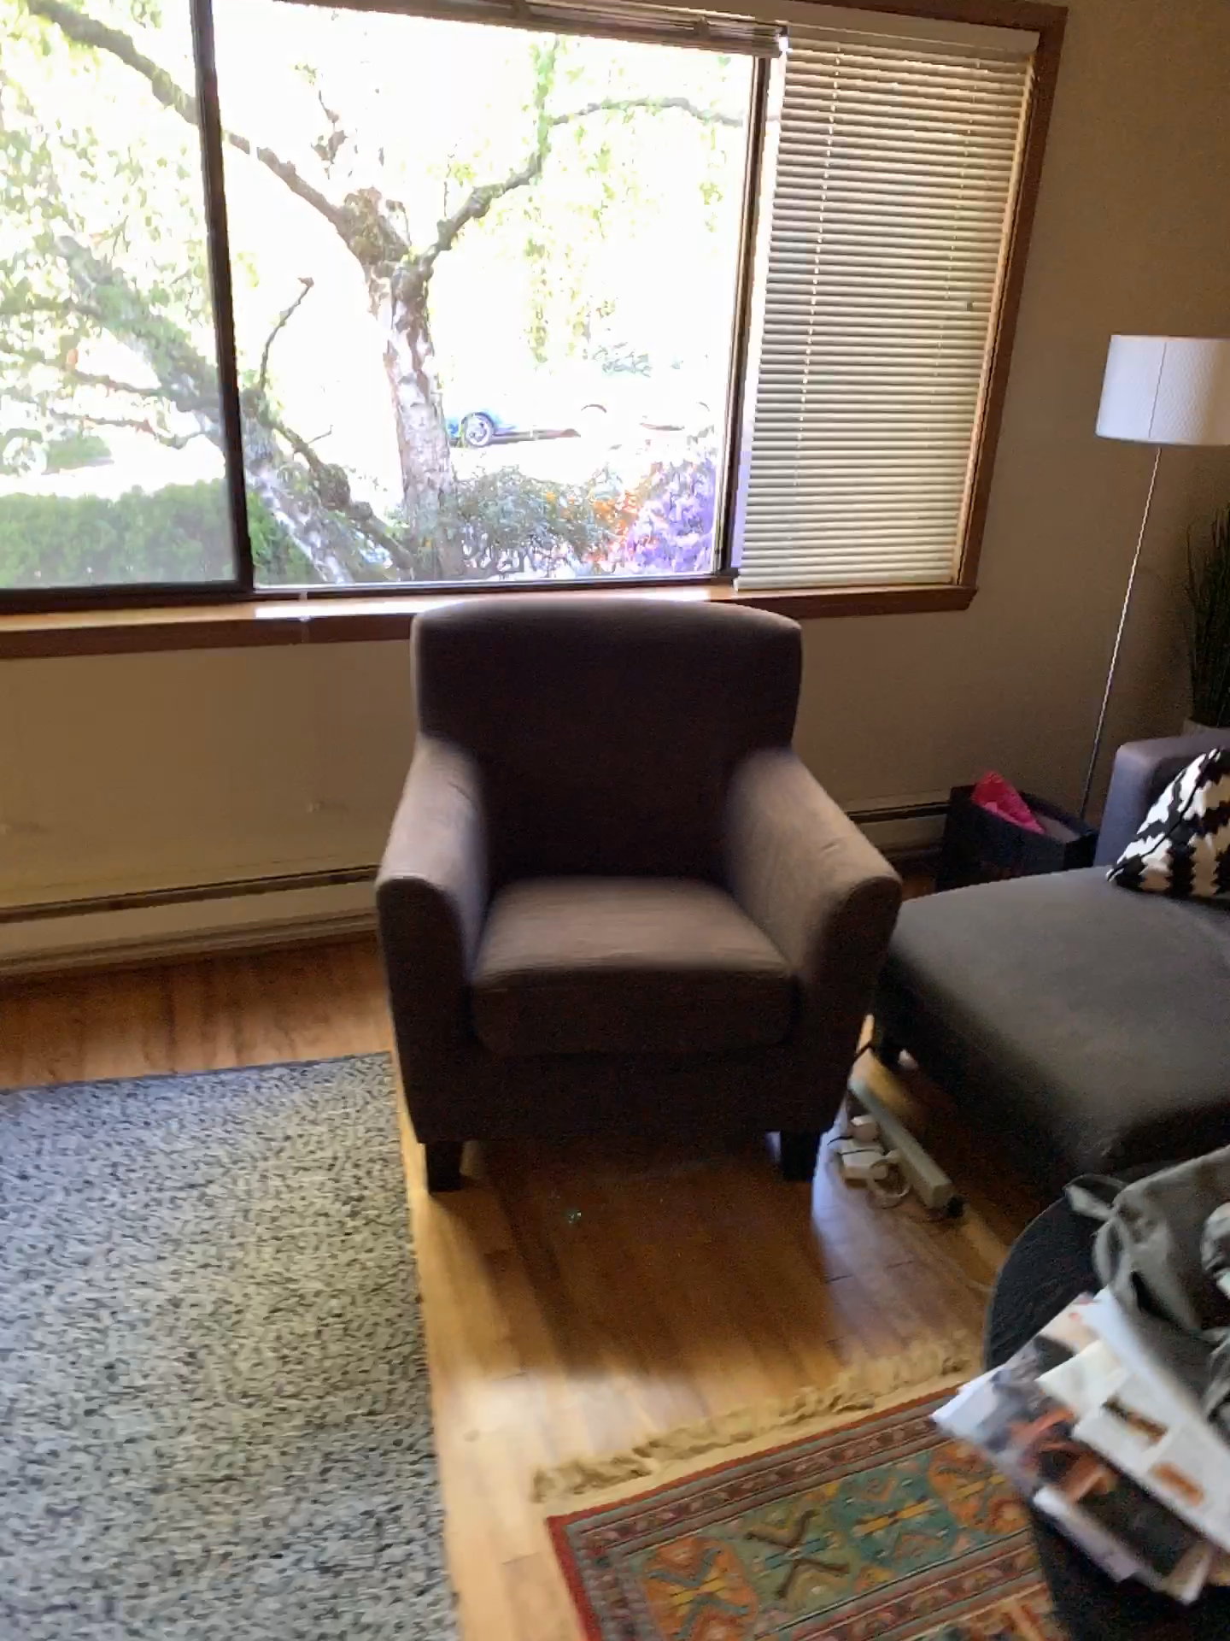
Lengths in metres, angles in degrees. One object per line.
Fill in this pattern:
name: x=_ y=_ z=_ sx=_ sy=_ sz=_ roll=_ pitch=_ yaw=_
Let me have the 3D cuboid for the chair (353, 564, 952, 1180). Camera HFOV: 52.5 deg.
chair: x=0.002 y=0.037 z=2.336 sx=0.880 sy=0.876 sz=0.804 roll=0 pitch=21 yaw=-7
